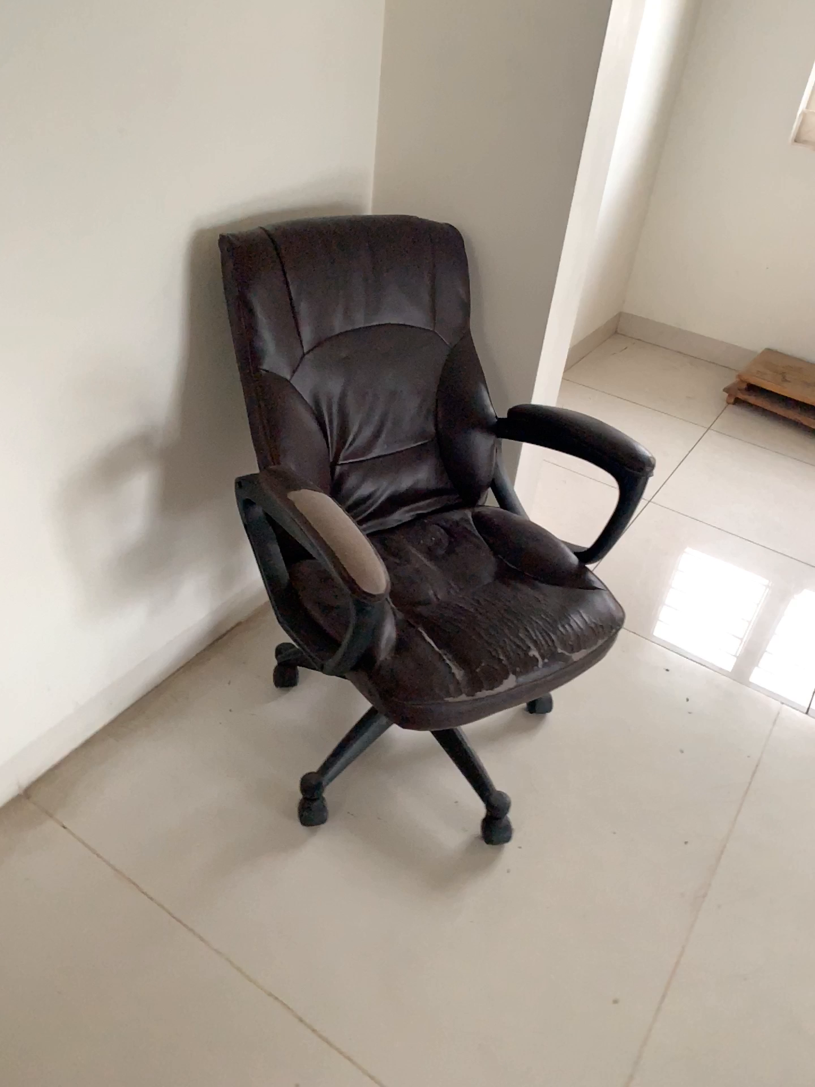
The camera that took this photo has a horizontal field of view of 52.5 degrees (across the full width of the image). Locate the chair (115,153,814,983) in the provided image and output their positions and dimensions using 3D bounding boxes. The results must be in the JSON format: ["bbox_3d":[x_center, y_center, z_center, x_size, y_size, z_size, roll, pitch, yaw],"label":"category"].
[{"bbox_3d":[0.036,-0.019,1.416,0.701,0.996,0.792,-18,44,-29],"label":"chair"}]
